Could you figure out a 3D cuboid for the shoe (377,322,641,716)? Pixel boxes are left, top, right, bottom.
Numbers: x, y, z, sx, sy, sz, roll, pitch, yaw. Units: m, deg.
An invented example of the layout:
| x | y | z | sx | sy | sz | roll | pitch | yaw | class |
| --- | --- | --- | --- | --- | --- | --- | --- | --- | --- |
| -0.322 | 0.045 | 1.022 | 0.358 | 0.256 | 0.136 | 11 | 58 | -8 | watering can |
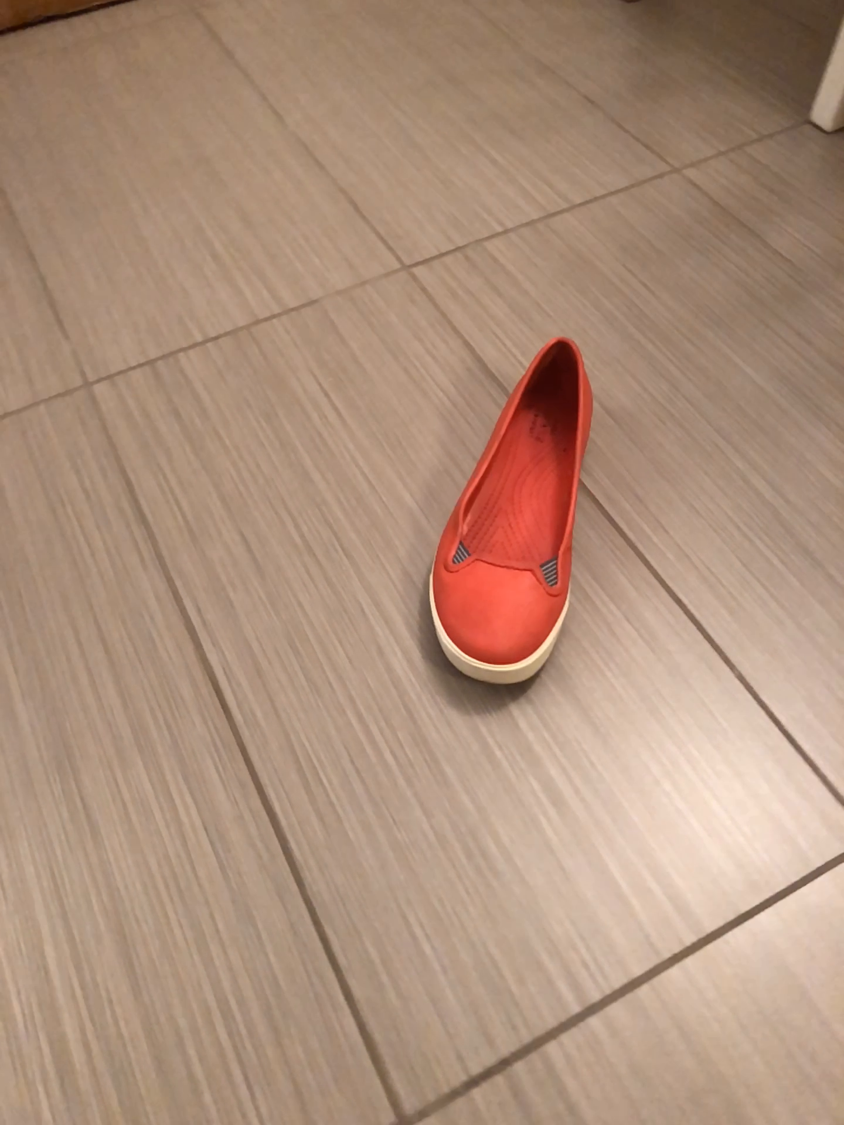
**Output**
| x | y | z | sx | sy | sz | roll | pitch | yaw | class |
| --- | --- | --- | --- | --- | --- | --- | --- | --- | --- |
| 0.067 | -0.042 | 0.629 | 0.100 | 0.070 | 0.271 | 14 | 56 | 13 | shoe |
